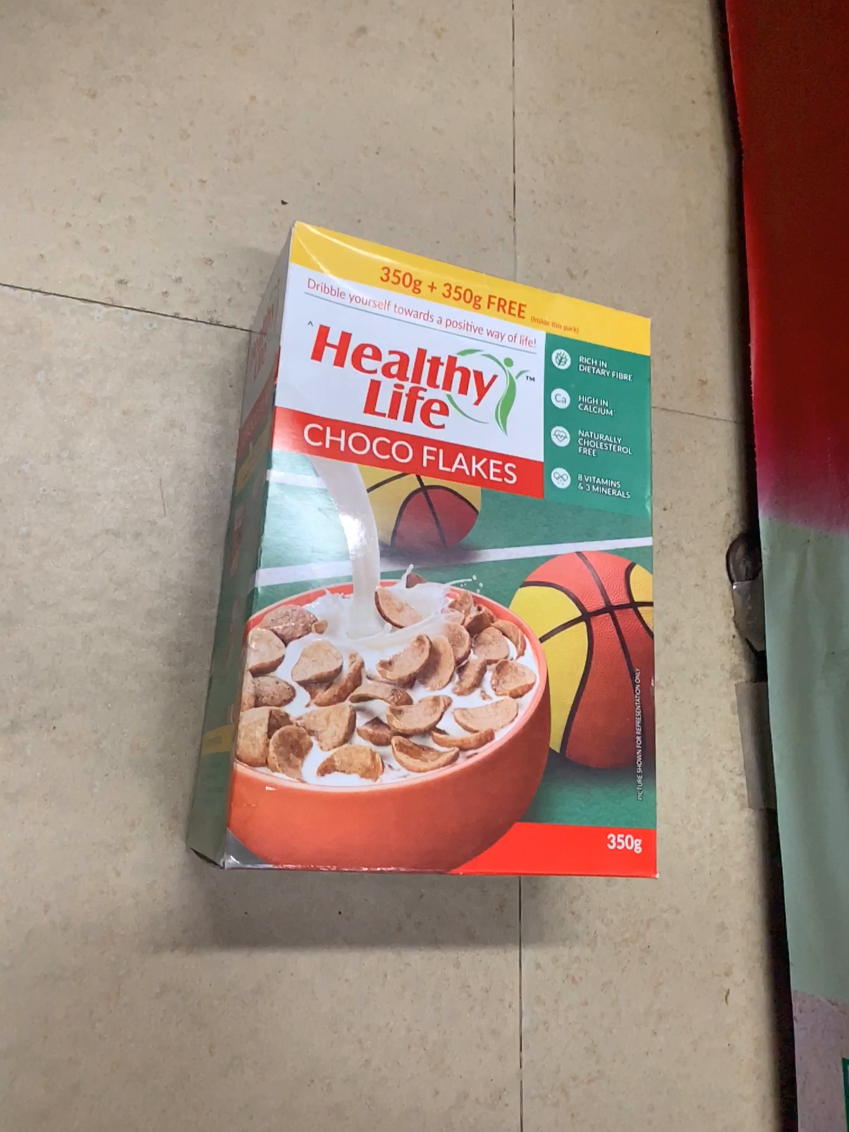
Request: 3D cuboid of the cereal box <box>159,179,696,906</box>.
[{"bbox_3d":[0.002,0.002,0.404,0.200,0.110,0.280,8,73,-19],"label":"cereal box"}]
